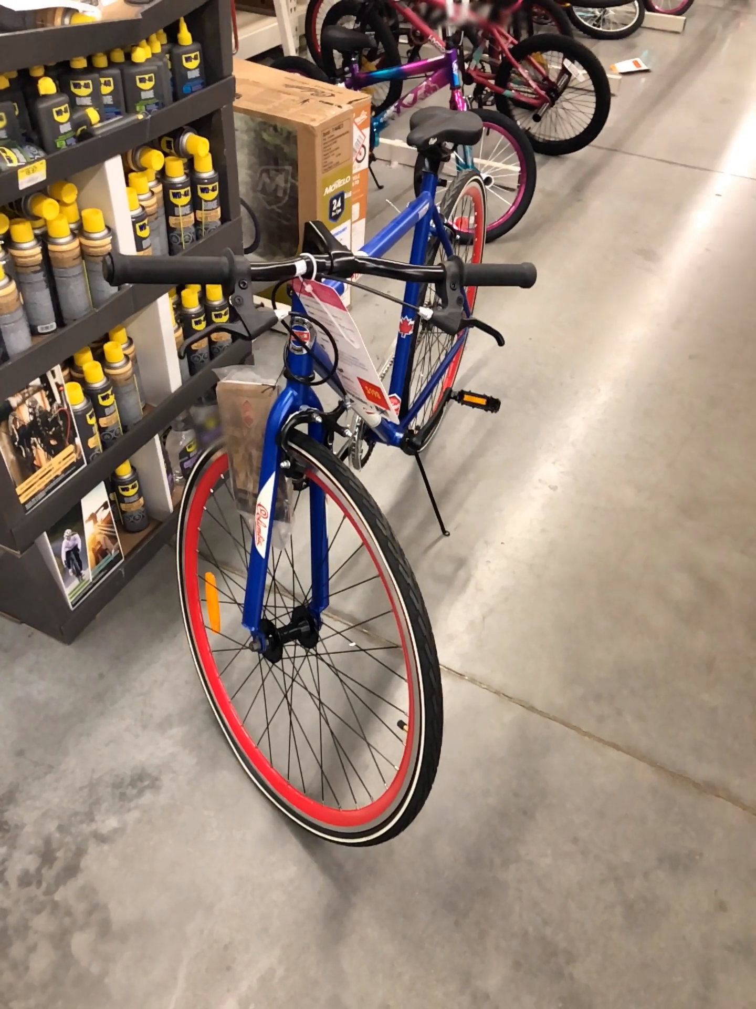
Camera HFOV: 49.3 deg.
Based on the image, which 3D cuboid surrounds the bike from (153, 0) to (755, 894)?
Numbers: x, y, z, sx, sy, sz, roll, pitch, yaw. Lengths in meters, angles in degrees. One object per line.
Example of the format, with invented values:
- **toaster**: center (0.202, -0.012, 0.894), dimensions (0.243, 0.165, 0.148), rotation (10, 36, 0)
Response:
- **bike**: center (0.188, -0.316, 1.514), dimensions (0.601, 0.937, 1.500), rotation (7, 39, 6)
